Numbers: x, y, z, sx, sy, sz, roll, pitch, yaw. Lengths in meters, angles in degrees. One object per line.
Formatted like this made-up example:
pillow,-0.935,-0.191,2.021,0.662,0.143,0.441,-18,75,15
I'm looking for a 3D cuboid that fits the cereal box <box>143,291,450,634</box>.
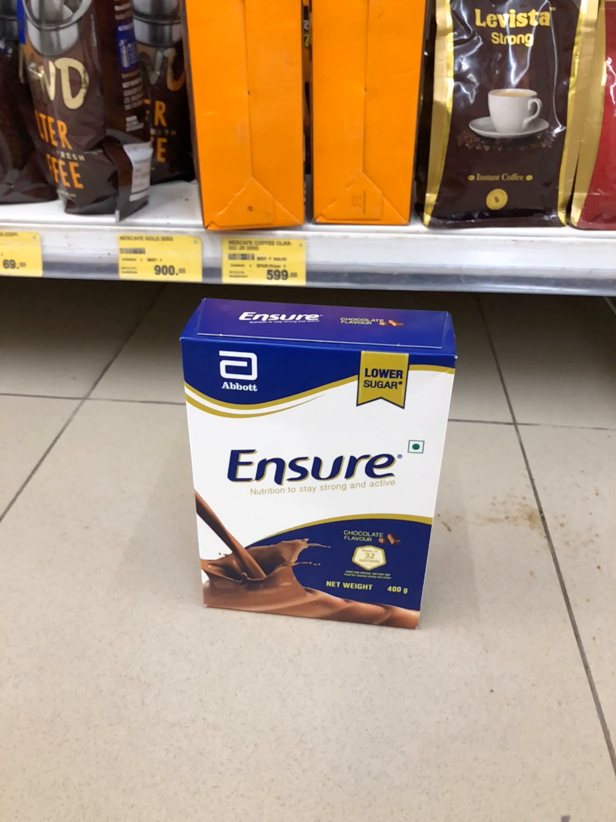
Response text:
cereal box,-0.001,0.032,0.380,0.140,0.179,0.060,3,32,8
